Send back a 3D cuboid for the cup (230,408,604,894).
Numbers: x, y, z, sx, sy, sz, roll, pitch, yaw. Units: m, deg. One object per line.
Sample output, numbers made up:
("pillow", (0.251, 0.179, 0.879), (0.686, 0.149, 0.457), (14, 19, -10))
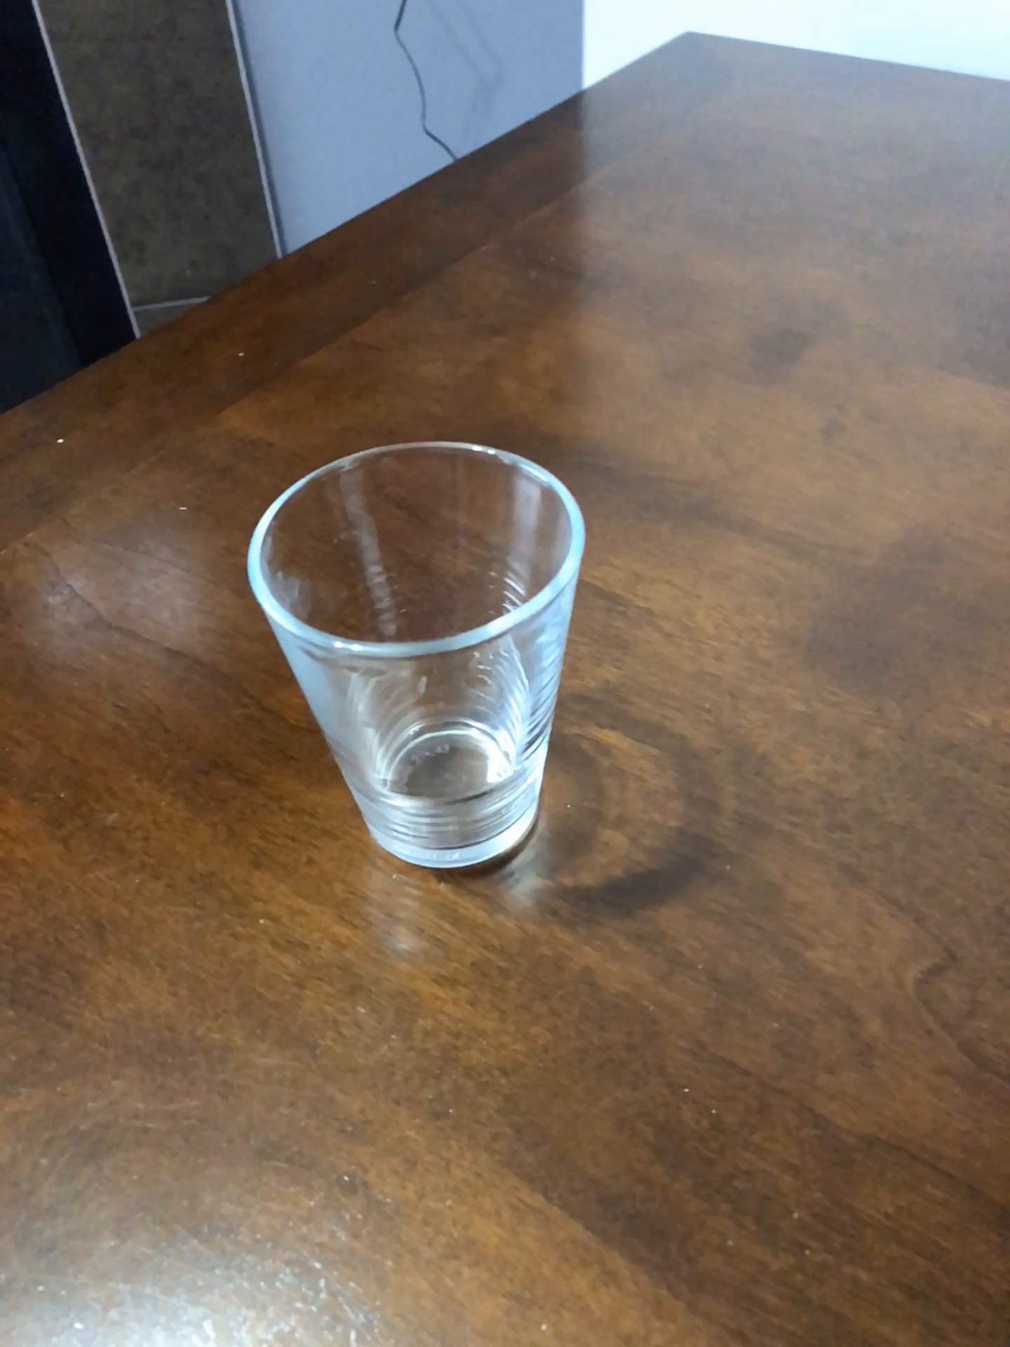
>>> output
("cup", (-0.020, -0.004, 0.298), (0.080, 0.100, 0.070), (-7, 44, -3))
